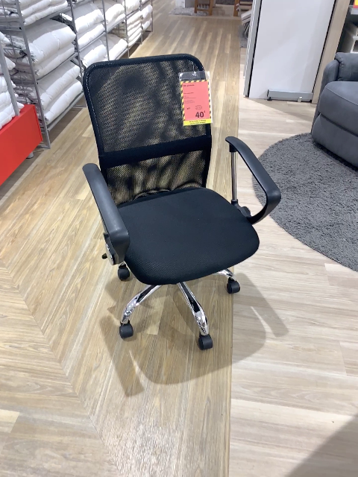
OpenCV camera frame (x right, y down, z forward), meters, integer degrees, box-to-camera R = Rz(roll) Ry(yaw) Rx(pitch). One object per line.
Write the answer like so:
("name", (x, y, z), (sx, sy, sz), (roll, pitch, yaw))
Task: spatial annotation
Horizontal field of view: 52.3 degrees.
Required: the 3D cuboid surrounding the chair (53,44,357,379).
("chair", (0.018, -0.110, 1.272), (0.641, 0.865, 0.603), (-14, 43, -18))
